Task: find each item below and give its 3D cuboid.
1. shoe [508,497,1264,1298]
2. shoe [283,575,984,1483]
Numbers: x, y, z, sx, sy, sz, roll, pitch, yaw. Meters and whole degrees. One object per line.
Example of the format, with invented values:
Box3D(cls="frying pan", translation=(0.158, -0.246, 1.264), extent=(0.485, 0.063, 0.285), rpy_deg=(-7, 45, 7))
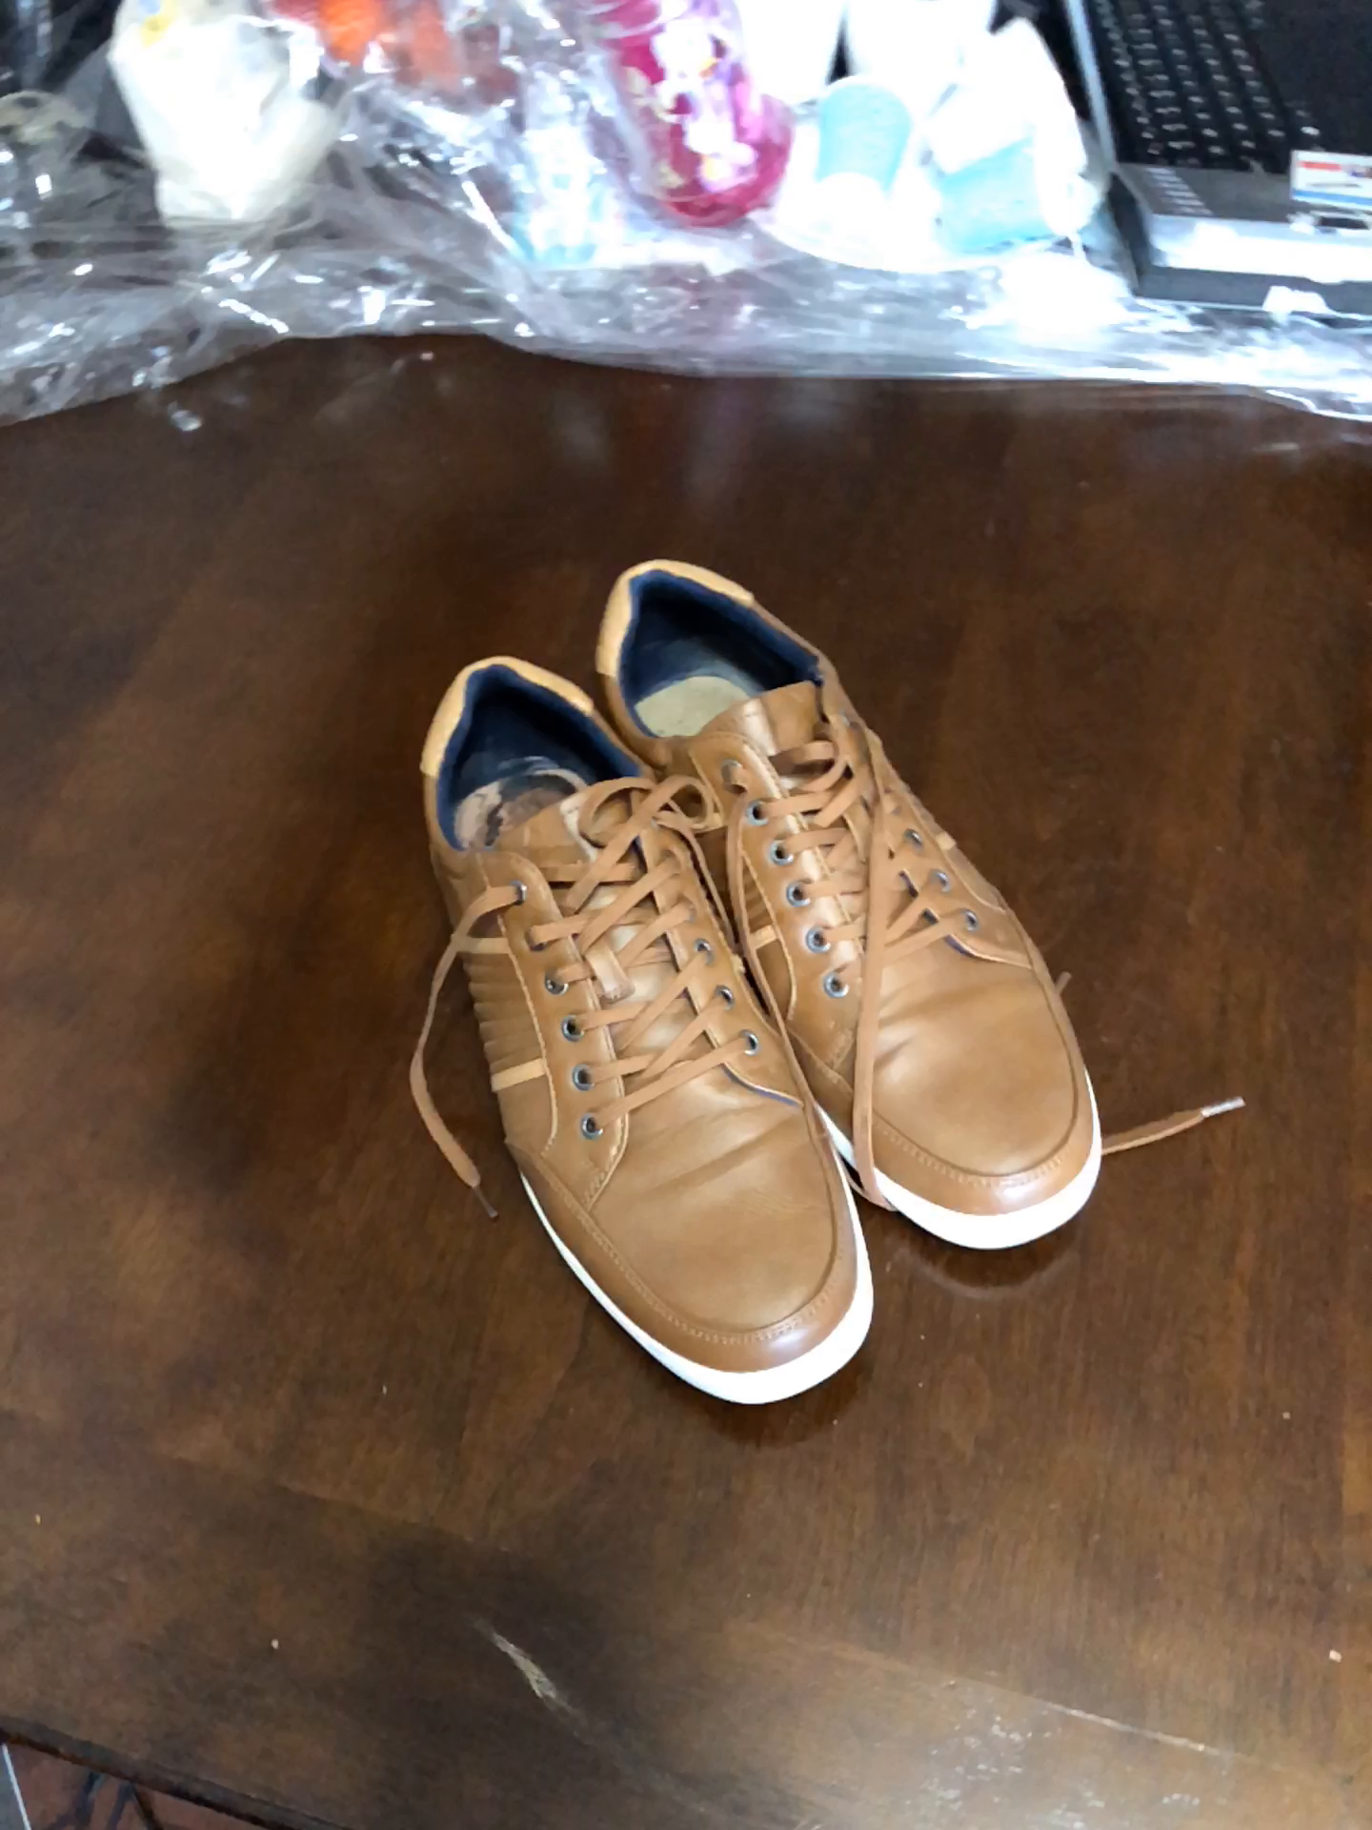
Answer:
Box3D(cls="shoe", translation=(0.056, -0.022, 0.553), extent=(0.110, 0.080, 0.291), rpy_deg=(-28, 57, -13))
Box3D(cls="shoe", translation=(-0.029, 0.021, 0.512), extent=(0.110, 0.080, 0.291), rpy_deg=(-25, 56, -11))
